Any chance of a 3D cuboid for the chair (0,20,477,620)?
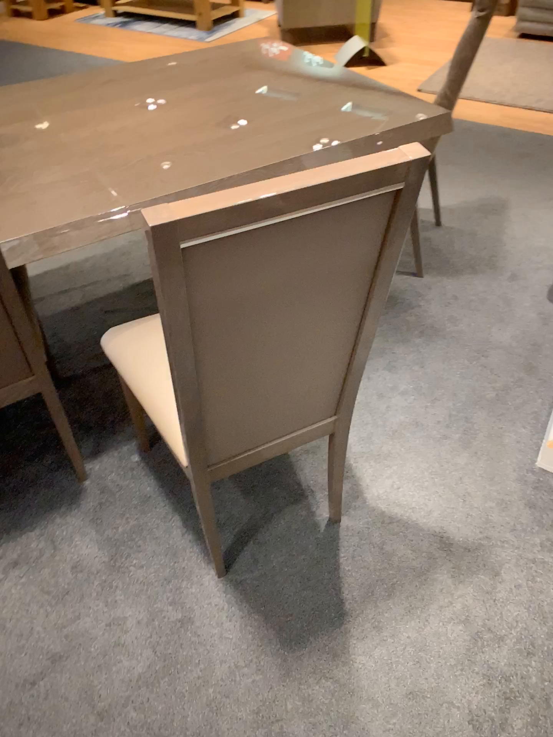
[{"bbox_3d":[-0.102,-0.053,1.155,0.499,0.976,0.586,-20,49,-18],"label":"chair"}]
